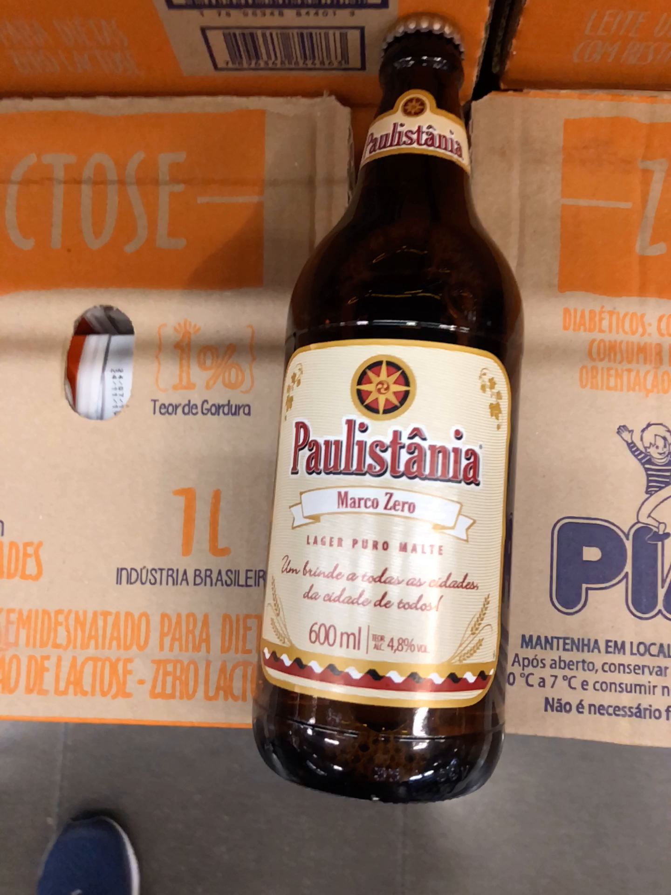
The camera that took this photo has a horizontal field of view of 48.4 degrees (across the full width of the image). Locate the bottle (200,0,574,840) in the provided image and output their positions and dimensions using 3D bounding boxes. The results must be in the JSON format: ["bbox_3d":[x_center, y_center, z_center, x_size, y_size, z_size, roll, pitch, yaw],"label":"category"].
[{"bbox_3d":[0.018,-0.035,0.212,0.080,0.050,0.250,3,82,4],"label":"bottle"}]
